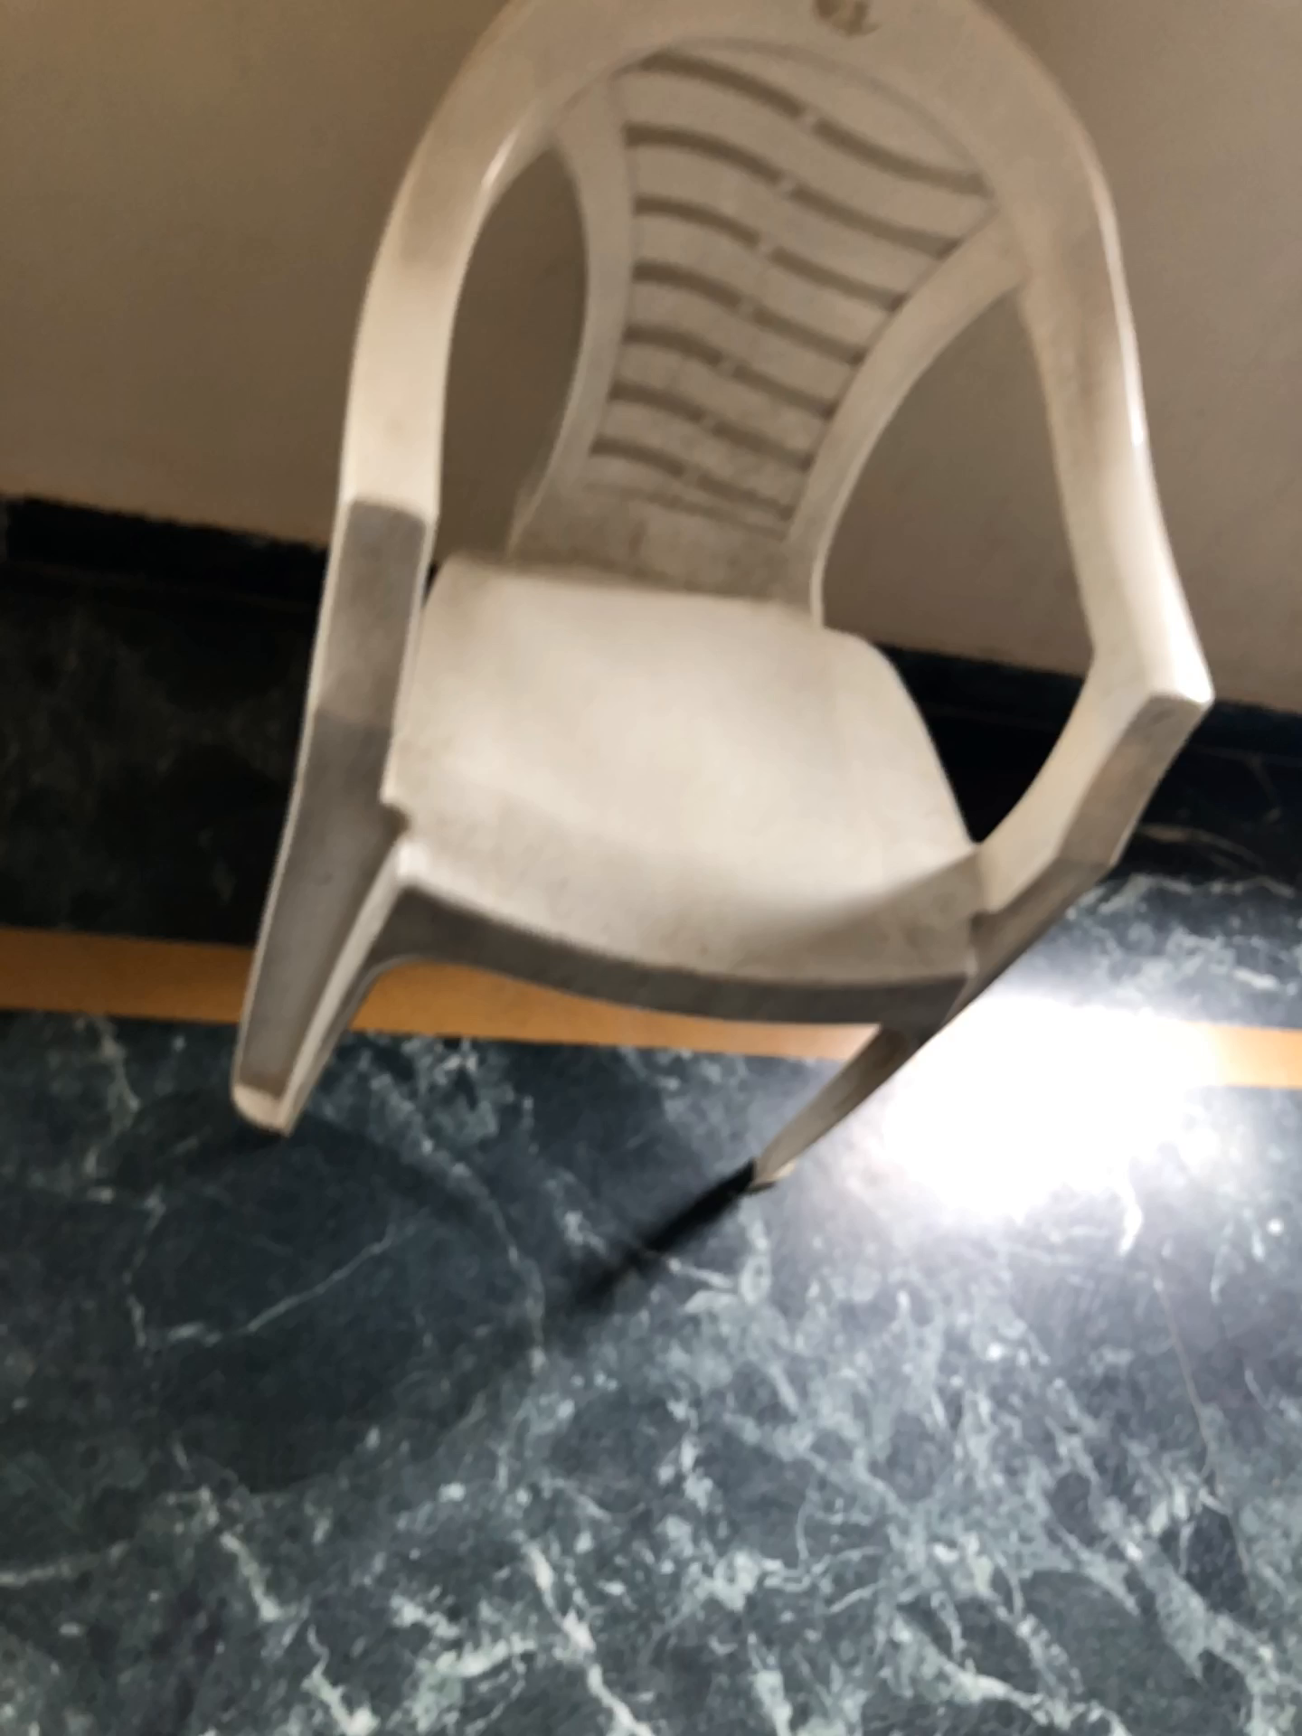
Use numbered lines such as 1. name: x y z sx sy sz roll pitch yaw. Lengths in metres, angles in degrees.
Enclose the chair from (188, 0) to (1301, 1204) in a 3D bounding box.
1. chair: 0.013 -0.195 1.102 0.581 0.775 0.623 7 54 -19
